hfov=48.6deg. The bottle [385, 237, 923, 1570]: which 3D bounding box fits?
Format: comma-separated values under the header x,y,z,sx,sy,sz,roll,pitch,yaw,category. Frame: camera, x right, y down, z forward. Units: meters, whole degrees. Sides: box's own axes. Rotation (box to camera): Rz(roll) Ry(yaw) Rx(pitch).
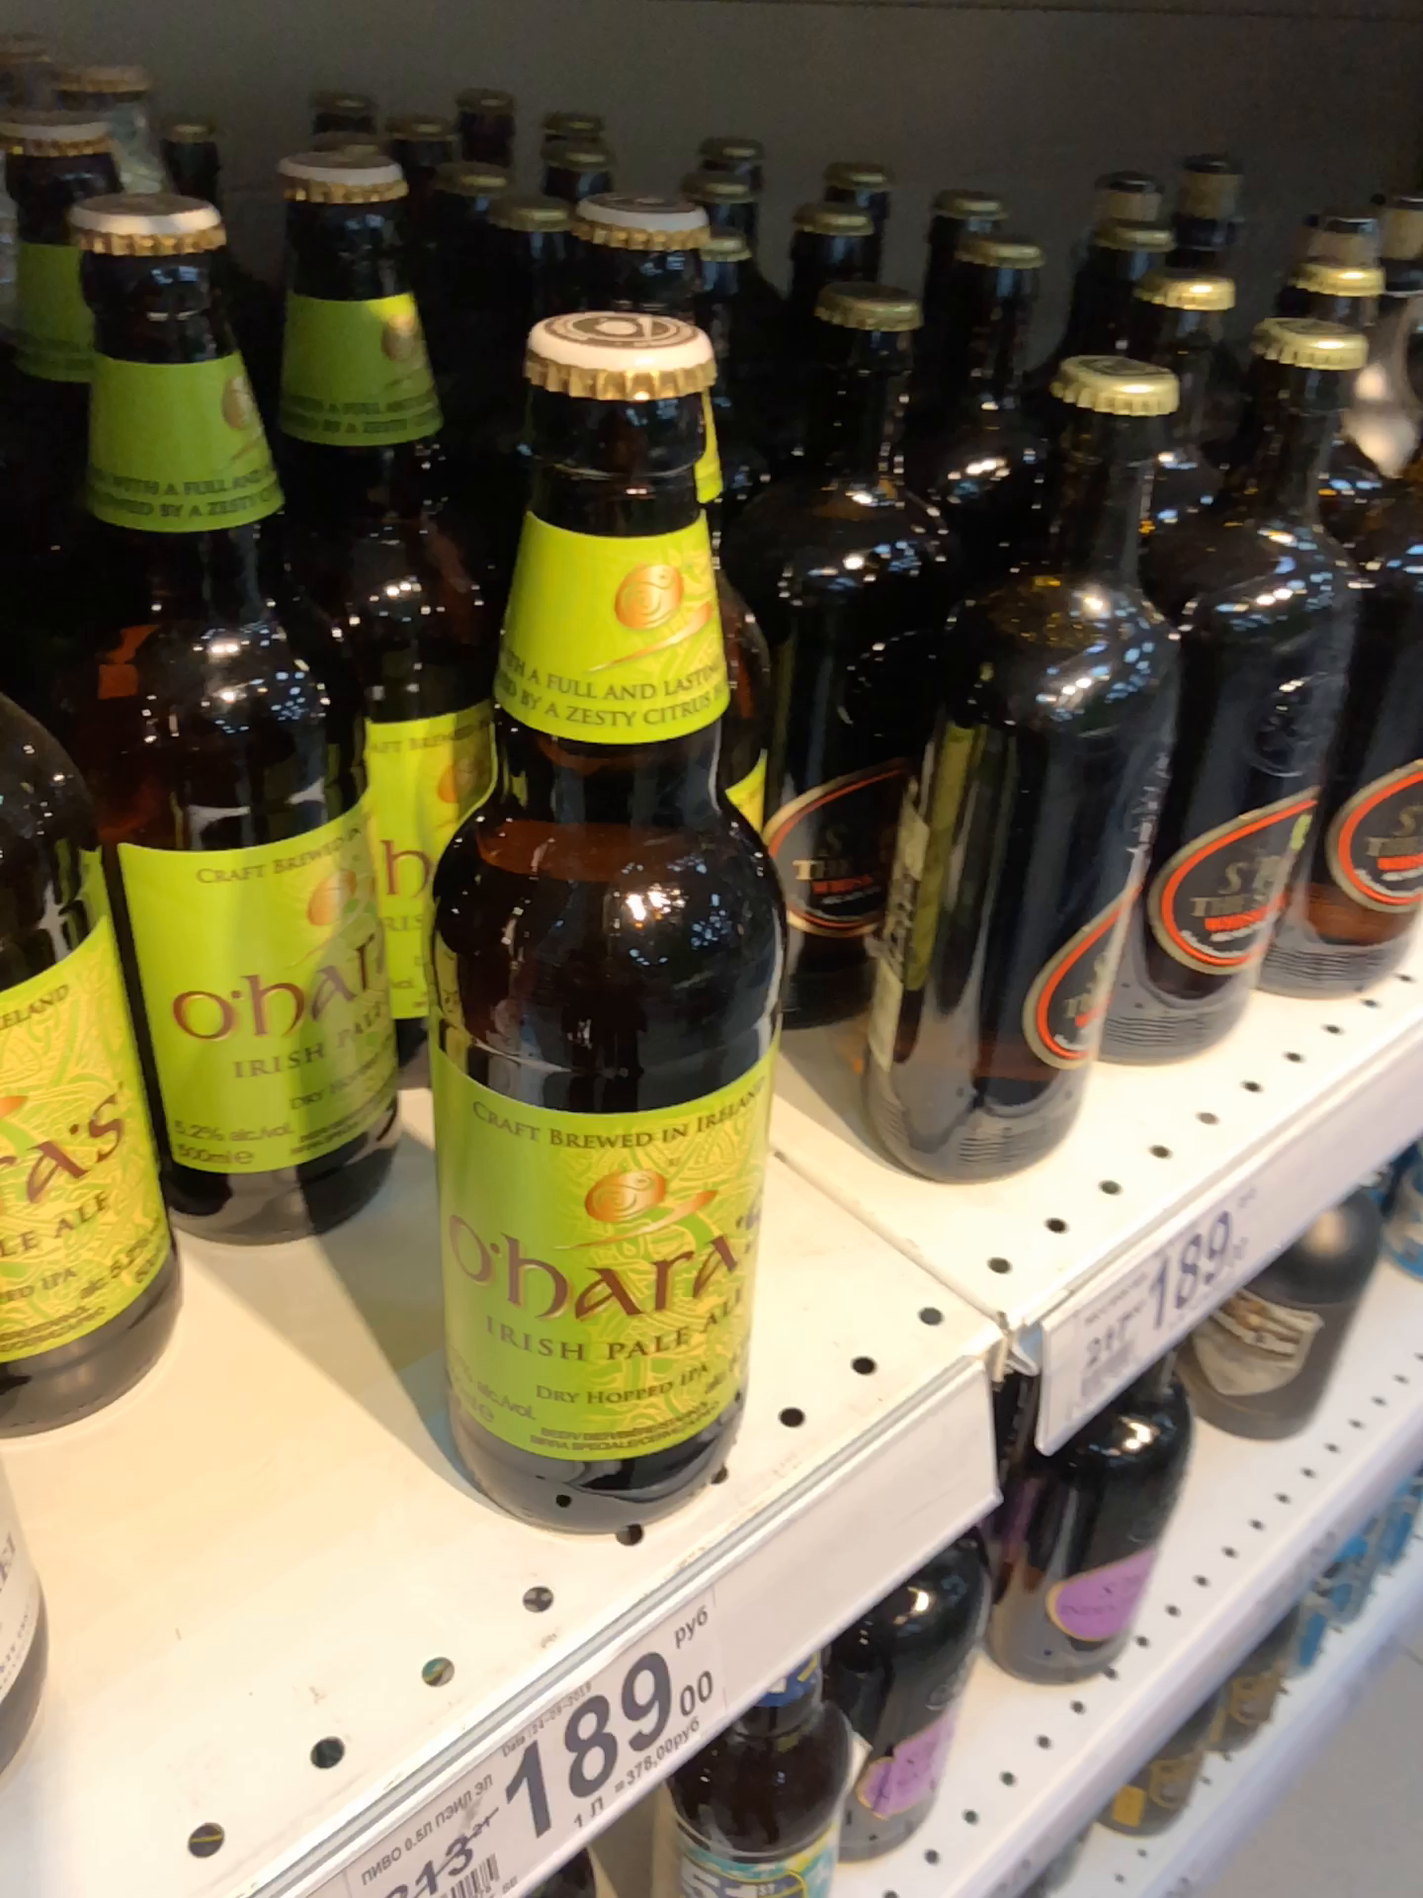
x,y,z,sx,sy,sz,roll,pitch,yaw,category
-0.020,0.006,0.302,0.070,0.250,0.070,3,33,-2,bottle
